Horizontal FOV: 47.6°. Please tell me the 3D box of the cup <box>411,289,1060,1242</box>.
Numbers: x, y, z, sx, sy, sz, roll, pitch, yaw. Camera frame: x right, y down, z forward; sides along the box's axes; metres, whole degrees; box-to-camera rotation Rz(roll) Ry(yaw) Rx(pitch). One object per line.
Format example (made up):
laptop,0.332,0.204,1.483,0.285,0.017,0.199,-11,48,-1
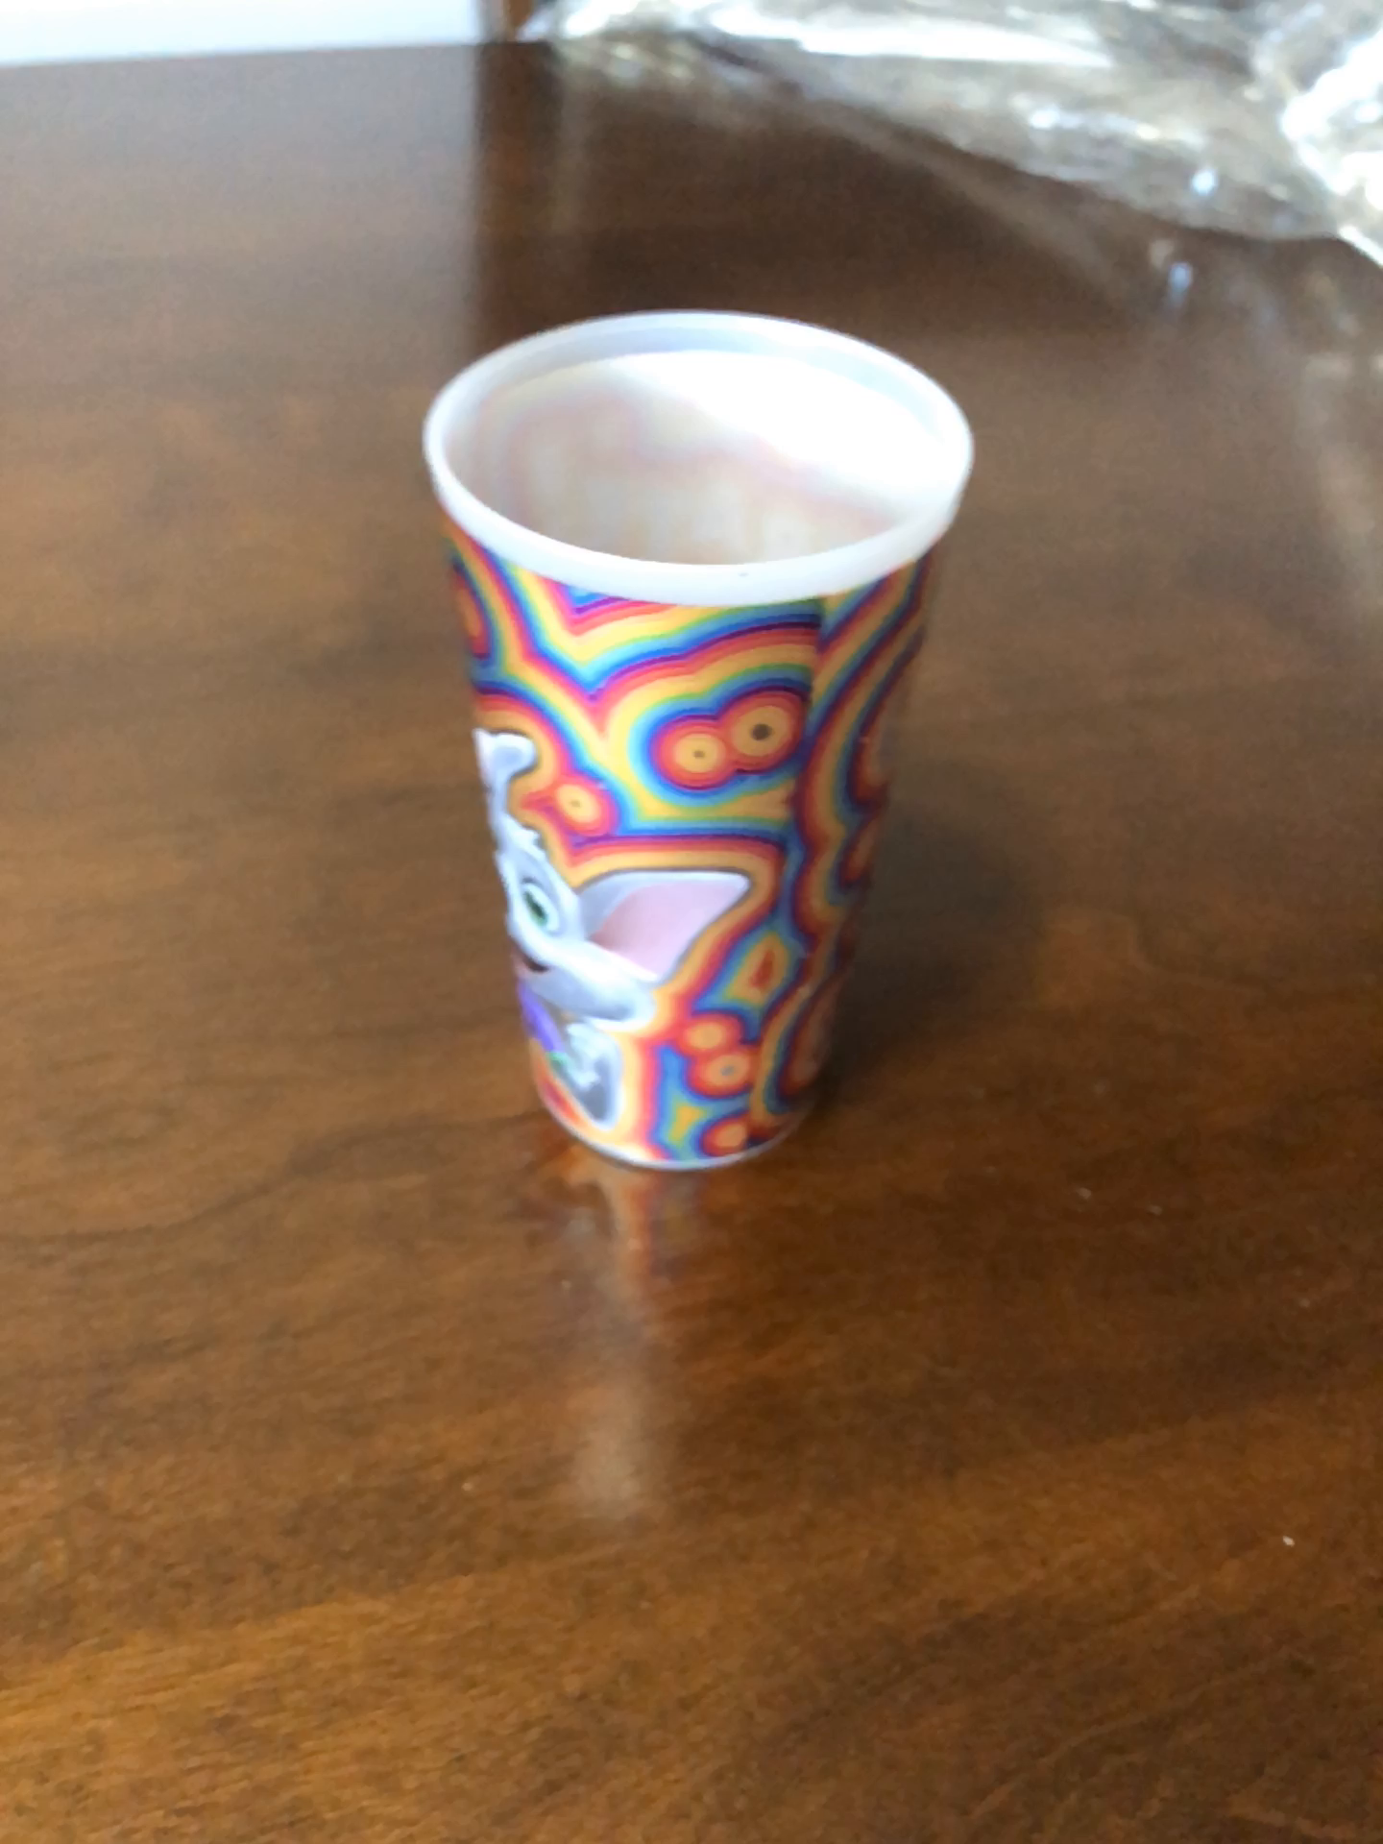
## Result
cup,0.001,-0.022,0.255,0.070,0.130,0.070,1,44,-1
